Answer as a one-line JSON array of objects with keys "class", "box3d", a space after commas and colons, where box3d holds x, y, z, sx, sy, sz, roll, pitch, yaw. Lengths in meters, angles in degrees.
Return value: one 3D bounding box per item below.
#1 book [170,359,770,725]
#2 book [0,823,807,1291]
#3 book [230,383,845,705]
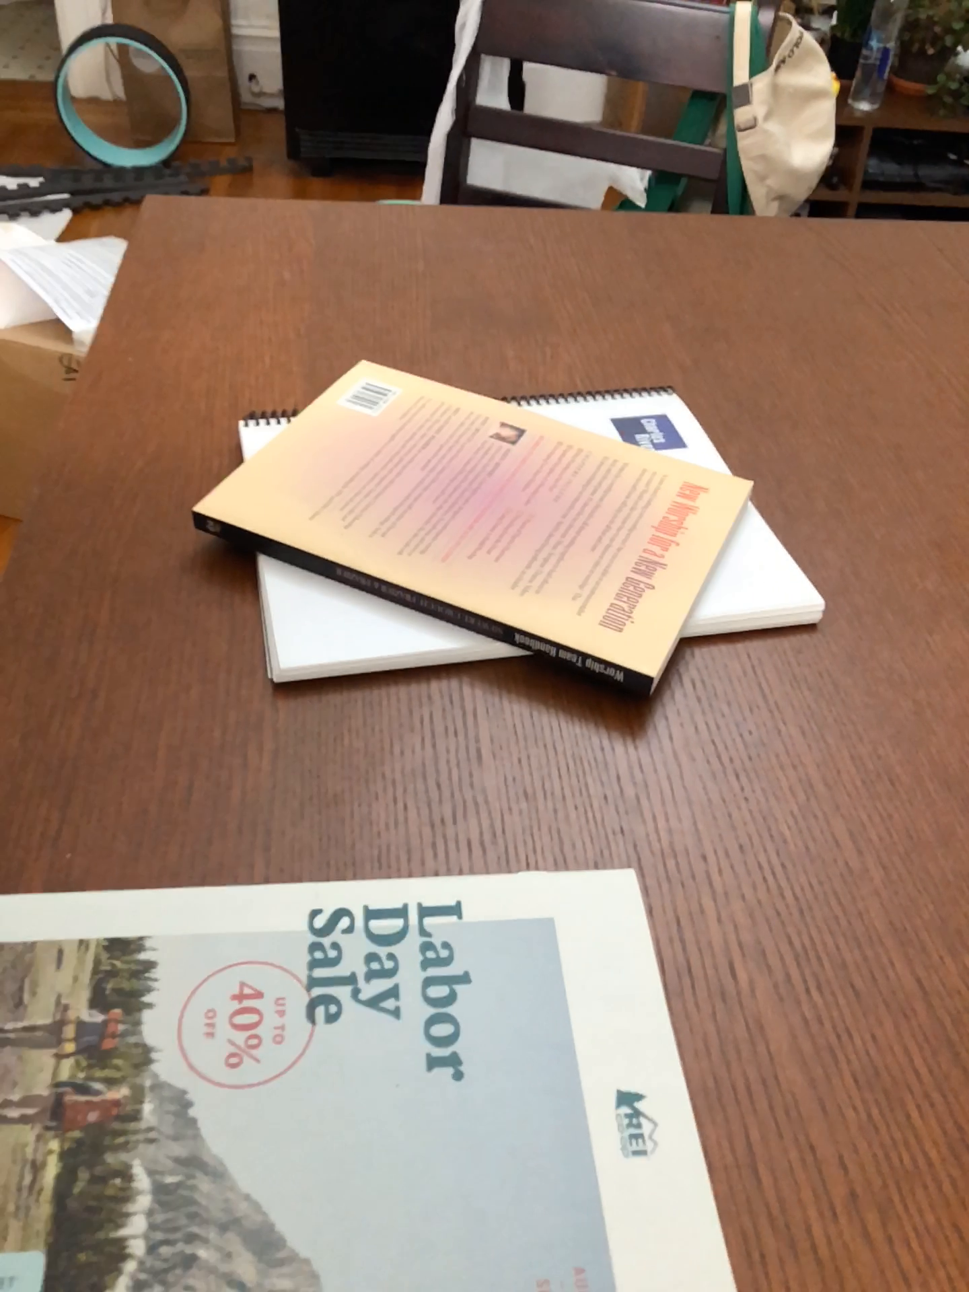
[{"class": "book", "box3d": [0.000, -0.072, 0.564, 0.260, 0.020, 0.191, 20, 44, 16]}, {"class": "book", "box3d": [-0.061, 0.145, 0.334, 0.270, 0.010, 0.201, -1, 43, -7]}, {"class": "book", "box3d": [0.015, -0.074, 0.593, 0.290, 0.020, 0.231, -7, 43, -13]}]
